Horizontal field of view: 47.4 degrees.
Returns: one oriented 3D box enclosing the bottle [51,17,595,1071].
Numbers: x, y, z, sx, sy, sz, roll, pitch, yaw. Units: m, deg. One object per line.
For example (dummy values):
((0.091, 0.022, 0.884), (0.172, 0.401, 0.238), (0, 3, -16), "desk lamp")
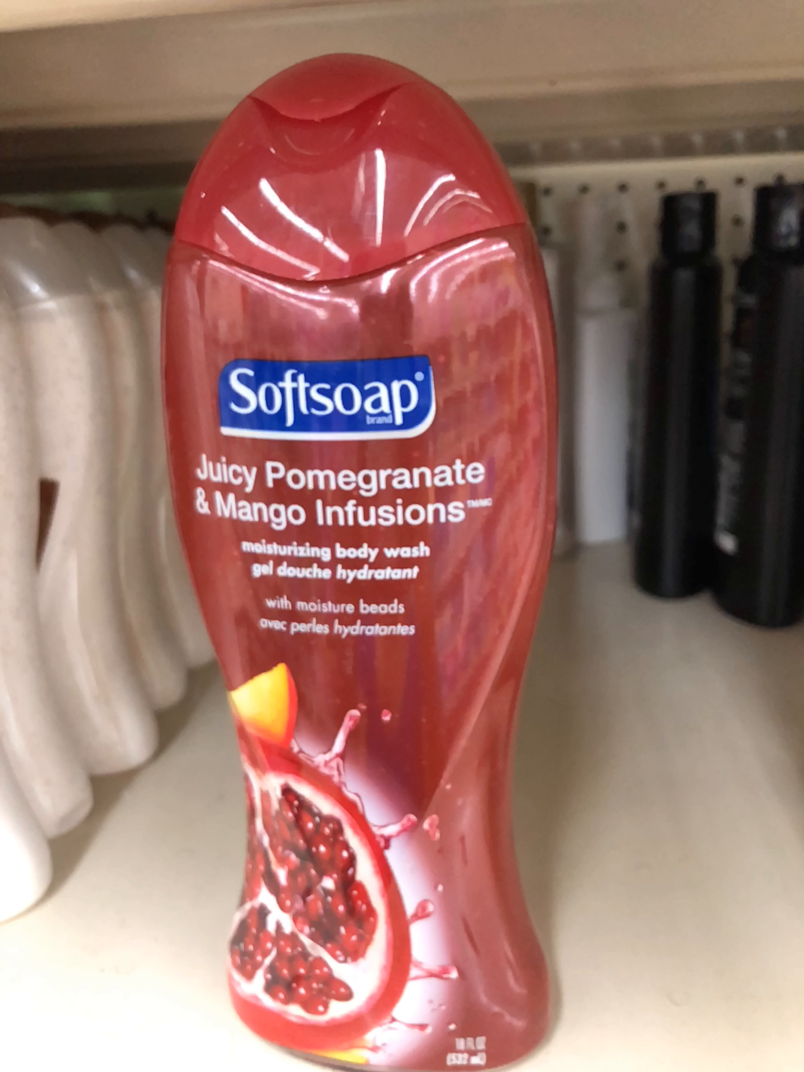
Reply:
((-0.007, 0.018, 0.215), (0.090, 0.229, 0.060), (4, 19, 18), "bottle")
